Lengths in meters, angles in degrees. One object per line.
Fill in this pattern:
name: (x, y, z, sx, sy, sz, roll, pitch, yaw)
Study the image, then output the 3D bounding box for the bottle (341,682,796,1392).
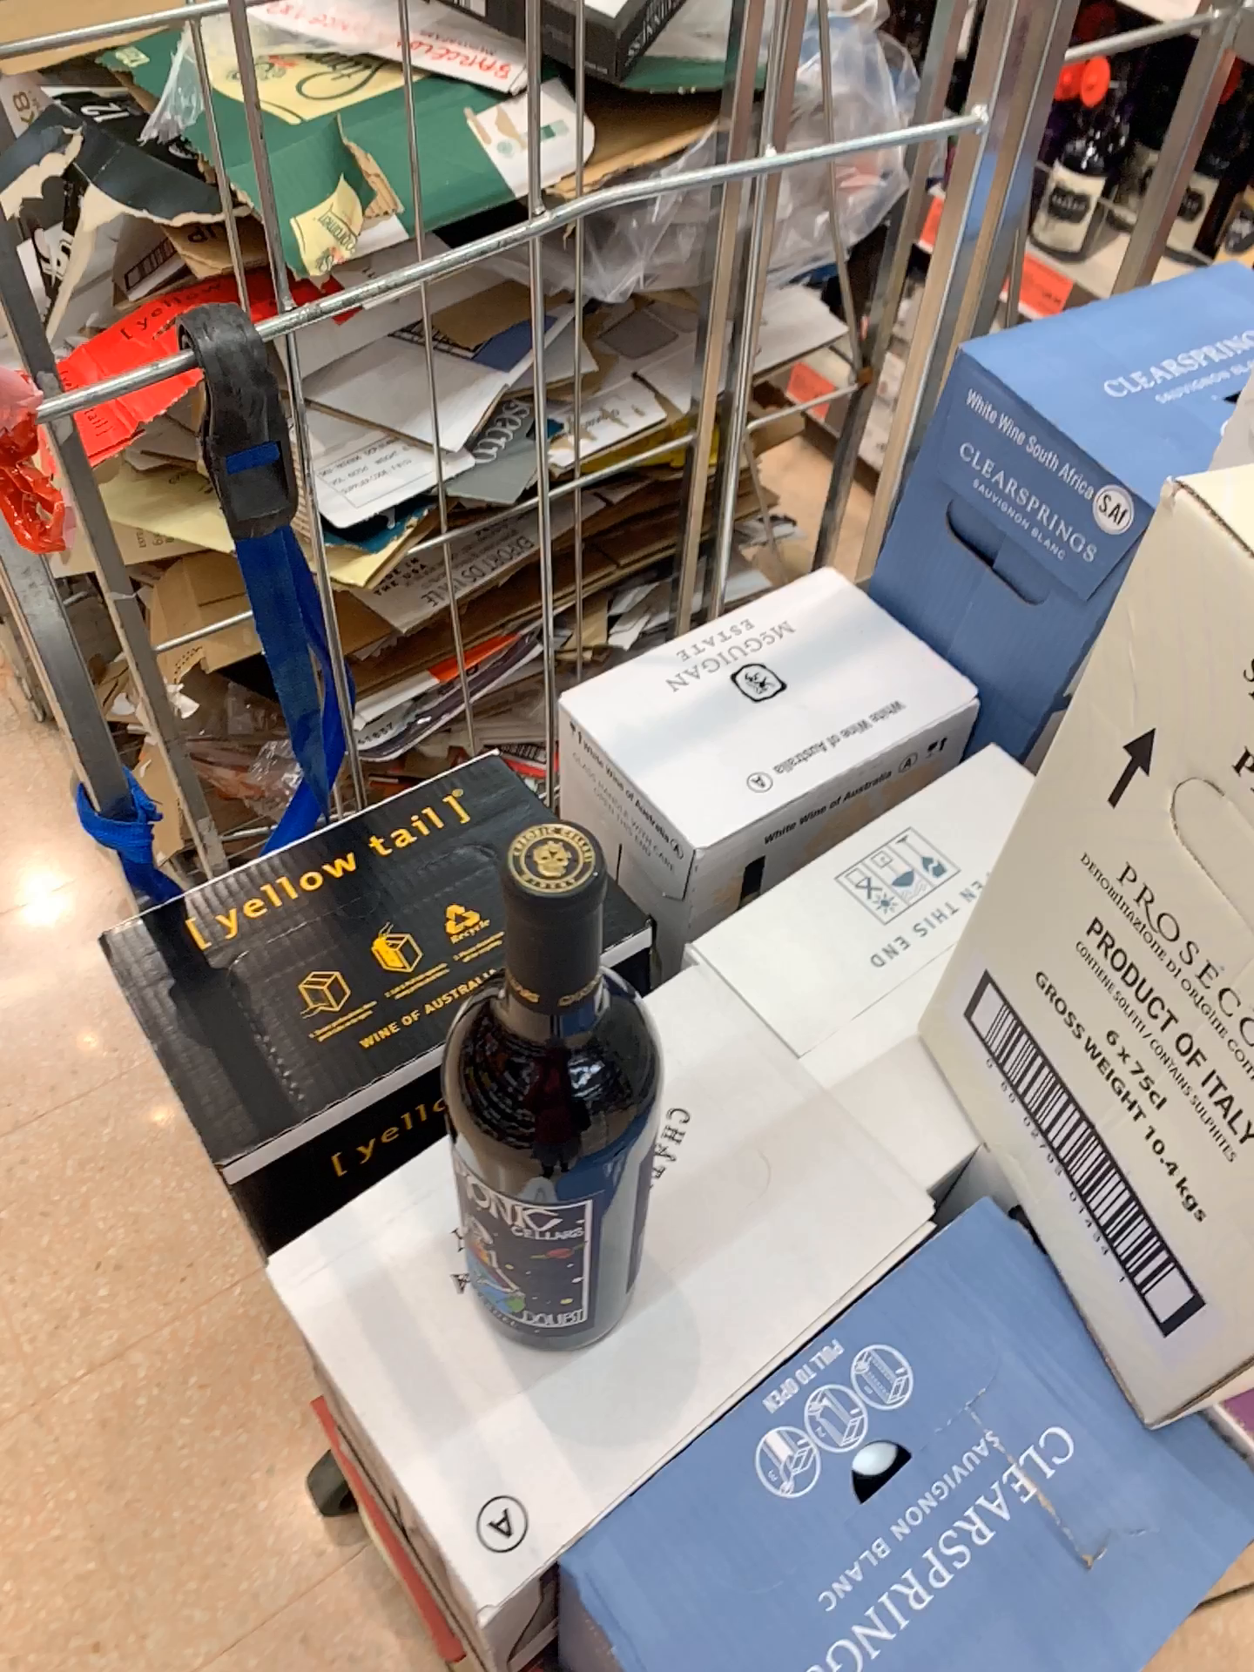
bottle: (-0.025, 0.091, 0.448, 0.085, 0.285, 0.085, 2, 51, -3)
